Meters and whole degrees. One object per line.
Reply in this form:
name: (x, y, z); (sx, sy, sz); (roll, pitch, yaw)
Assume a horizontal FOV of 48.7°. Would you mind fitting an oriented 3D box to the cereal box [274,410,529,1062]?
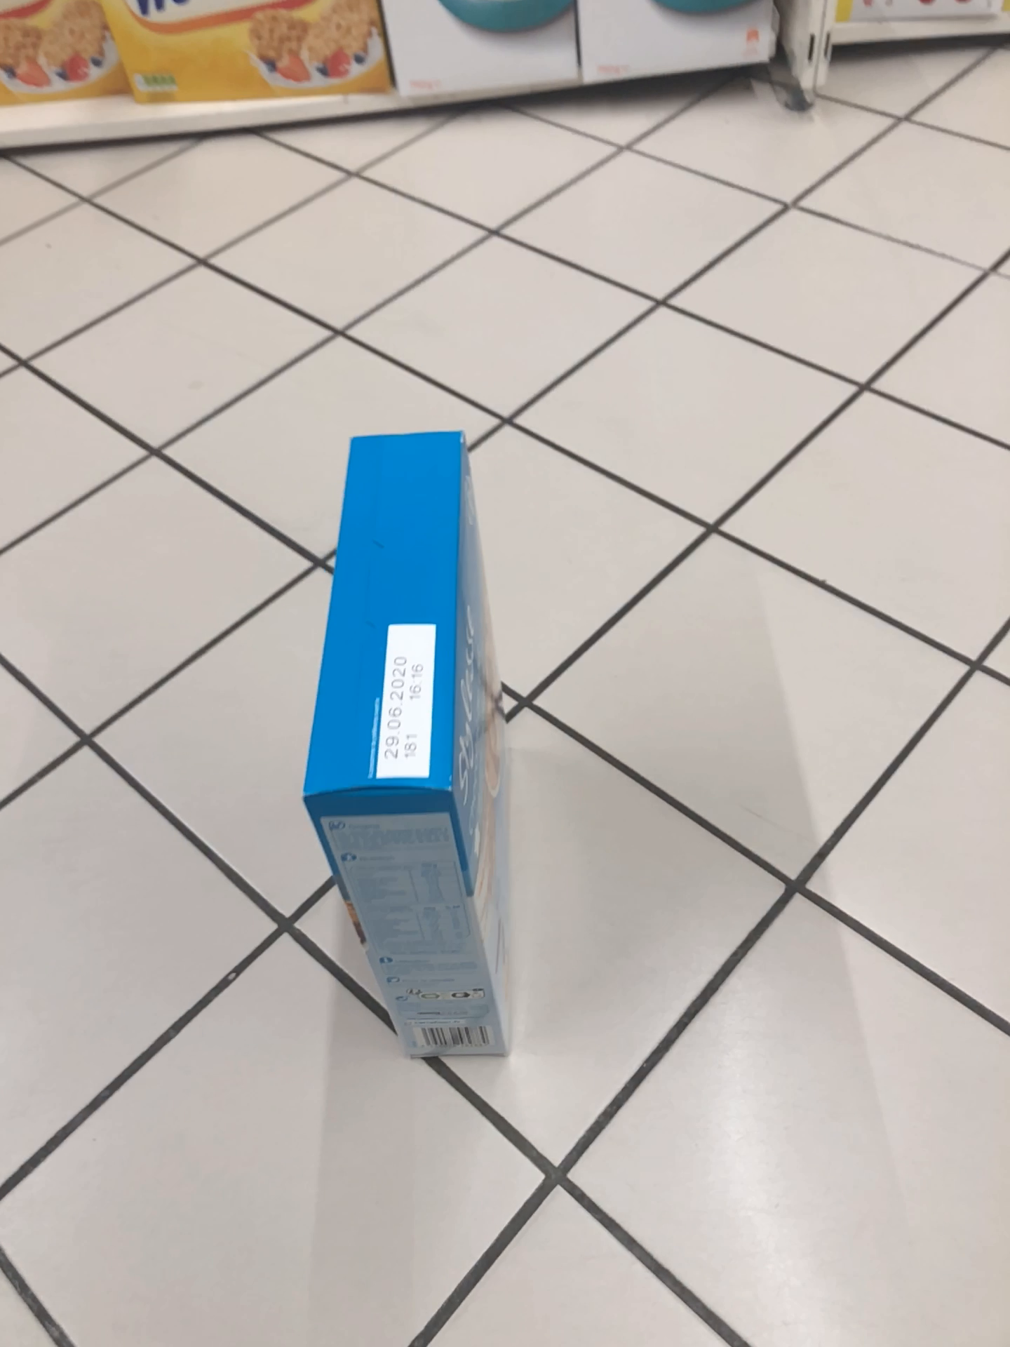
cereal box: (-0.034, 0.040, 0.534); (0.070, 0.248, 0.201); (-3, 51, 3)
